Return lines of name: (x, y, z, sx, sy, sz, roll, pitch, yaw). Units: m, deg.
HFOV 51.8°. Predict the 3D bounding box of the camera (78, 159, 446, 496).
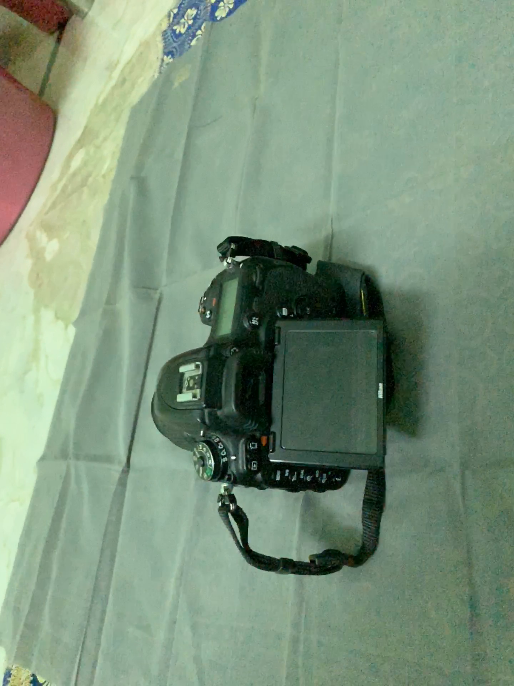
camera: (-0.004, 0.013, 0.370, 0.231, 0.099, 0.165, -14, 61, 42)
